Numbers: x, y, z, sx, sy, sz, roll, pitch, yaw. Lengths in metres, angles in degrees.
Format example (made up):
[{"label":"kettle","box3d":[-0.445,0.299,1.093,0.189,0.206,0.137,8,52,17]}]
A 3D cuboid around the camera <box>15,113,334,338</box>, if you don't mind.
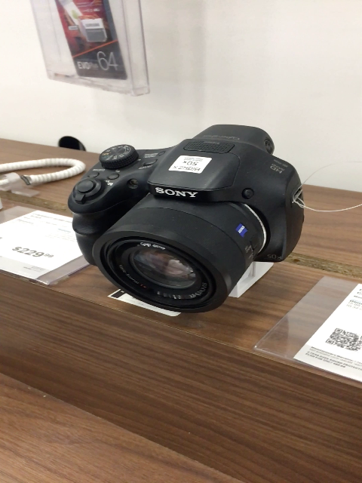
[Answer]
[{"label":"camera","box3d":[0.005,-0.018,0.306,0.135,0.089,0.109,15,44,26]}]
